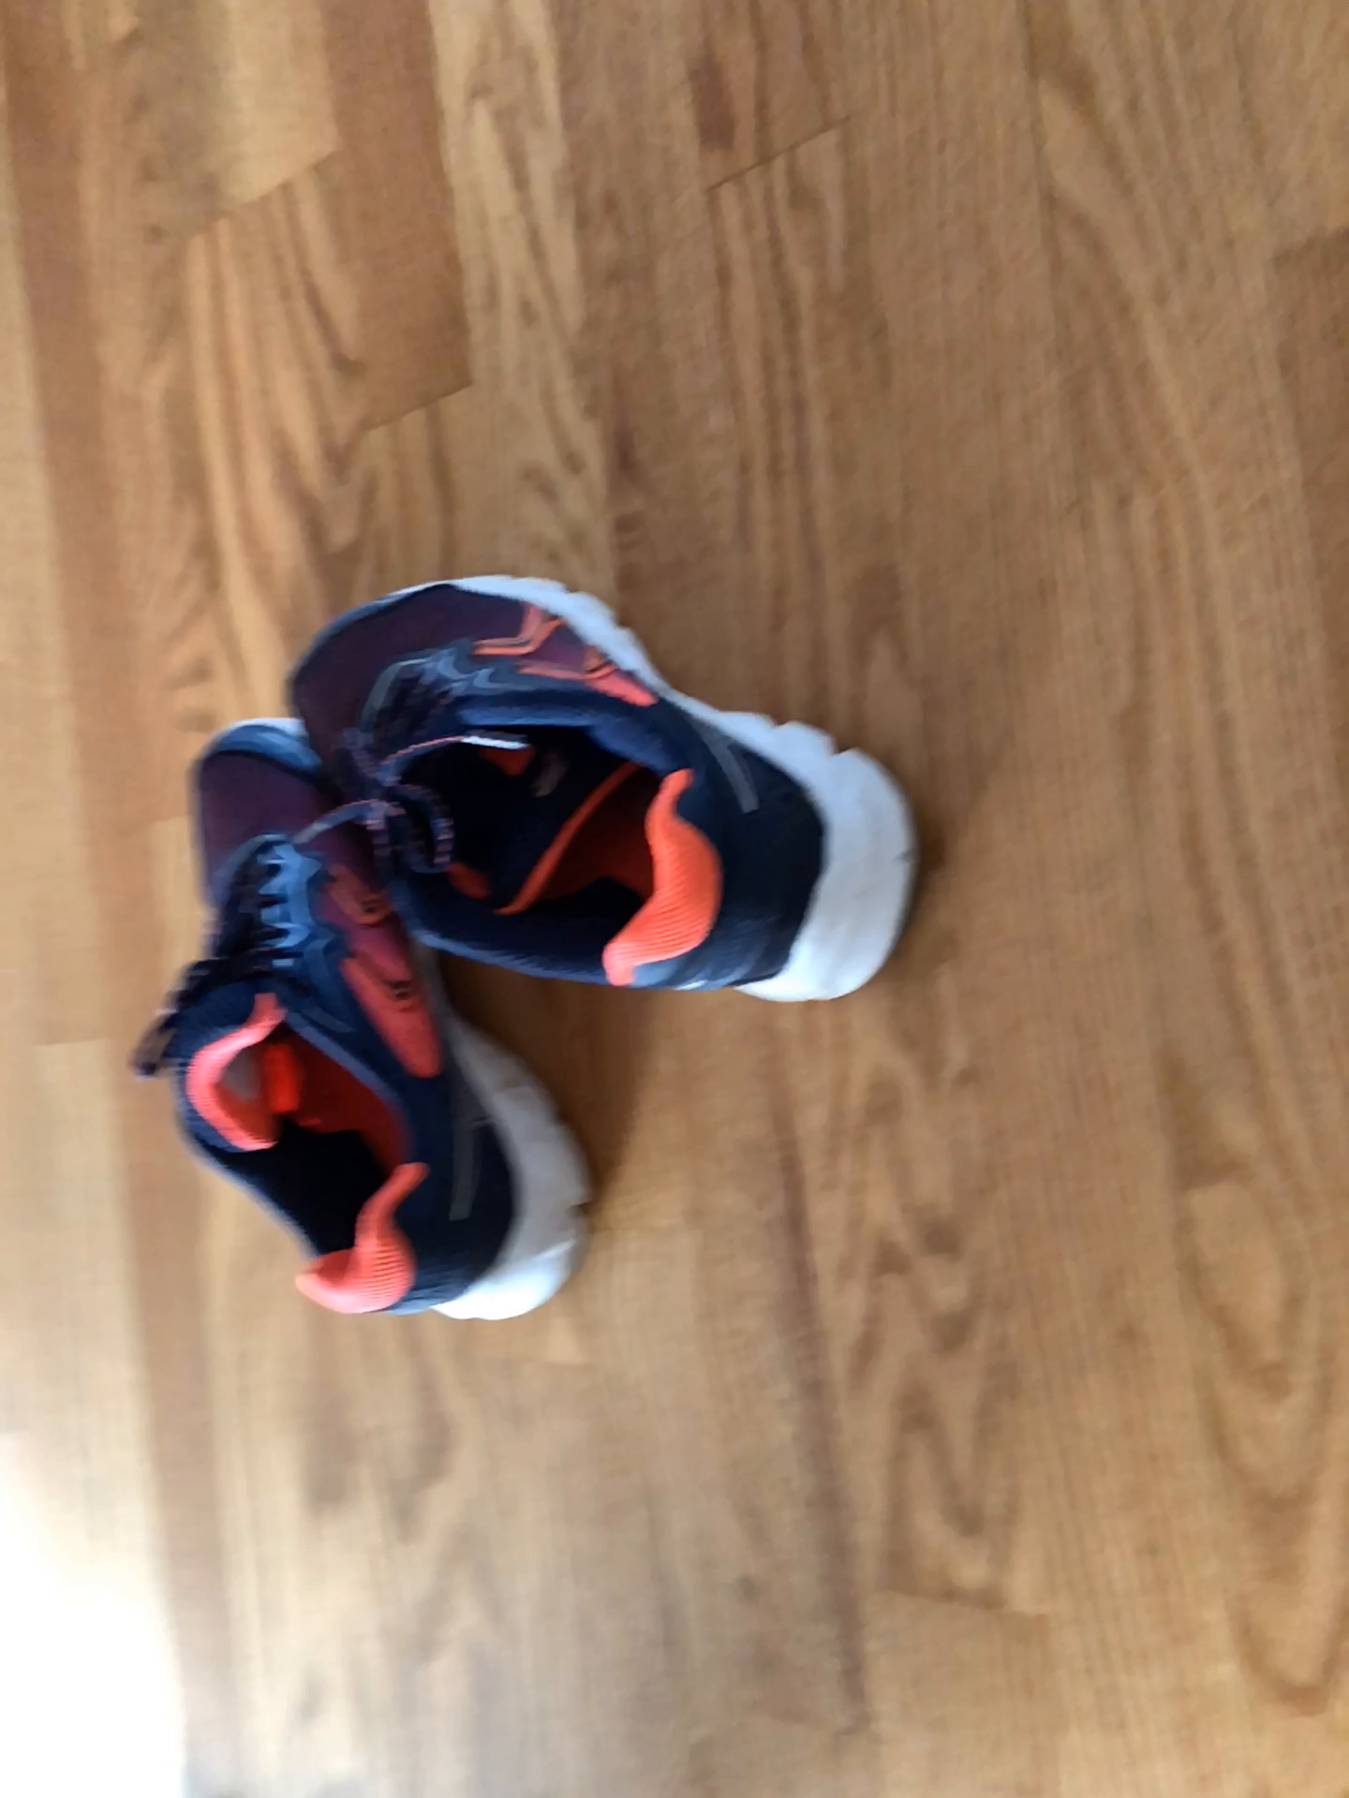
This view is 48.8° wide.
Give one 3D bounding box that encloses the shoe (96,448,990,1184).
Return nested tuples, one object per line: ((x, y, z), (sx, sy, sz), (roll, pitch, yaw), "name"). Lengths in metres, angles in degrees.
((-0.057, -0.040, 0.497), (0.278, 0.109, 0.116), (33, 109, 31), "shoe")

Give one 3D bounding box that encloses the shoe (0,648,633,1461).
((-0.147, 0.048, 0.565), (0.108, 0.109, 0.270), (-42, 68, 29), "shoe")
